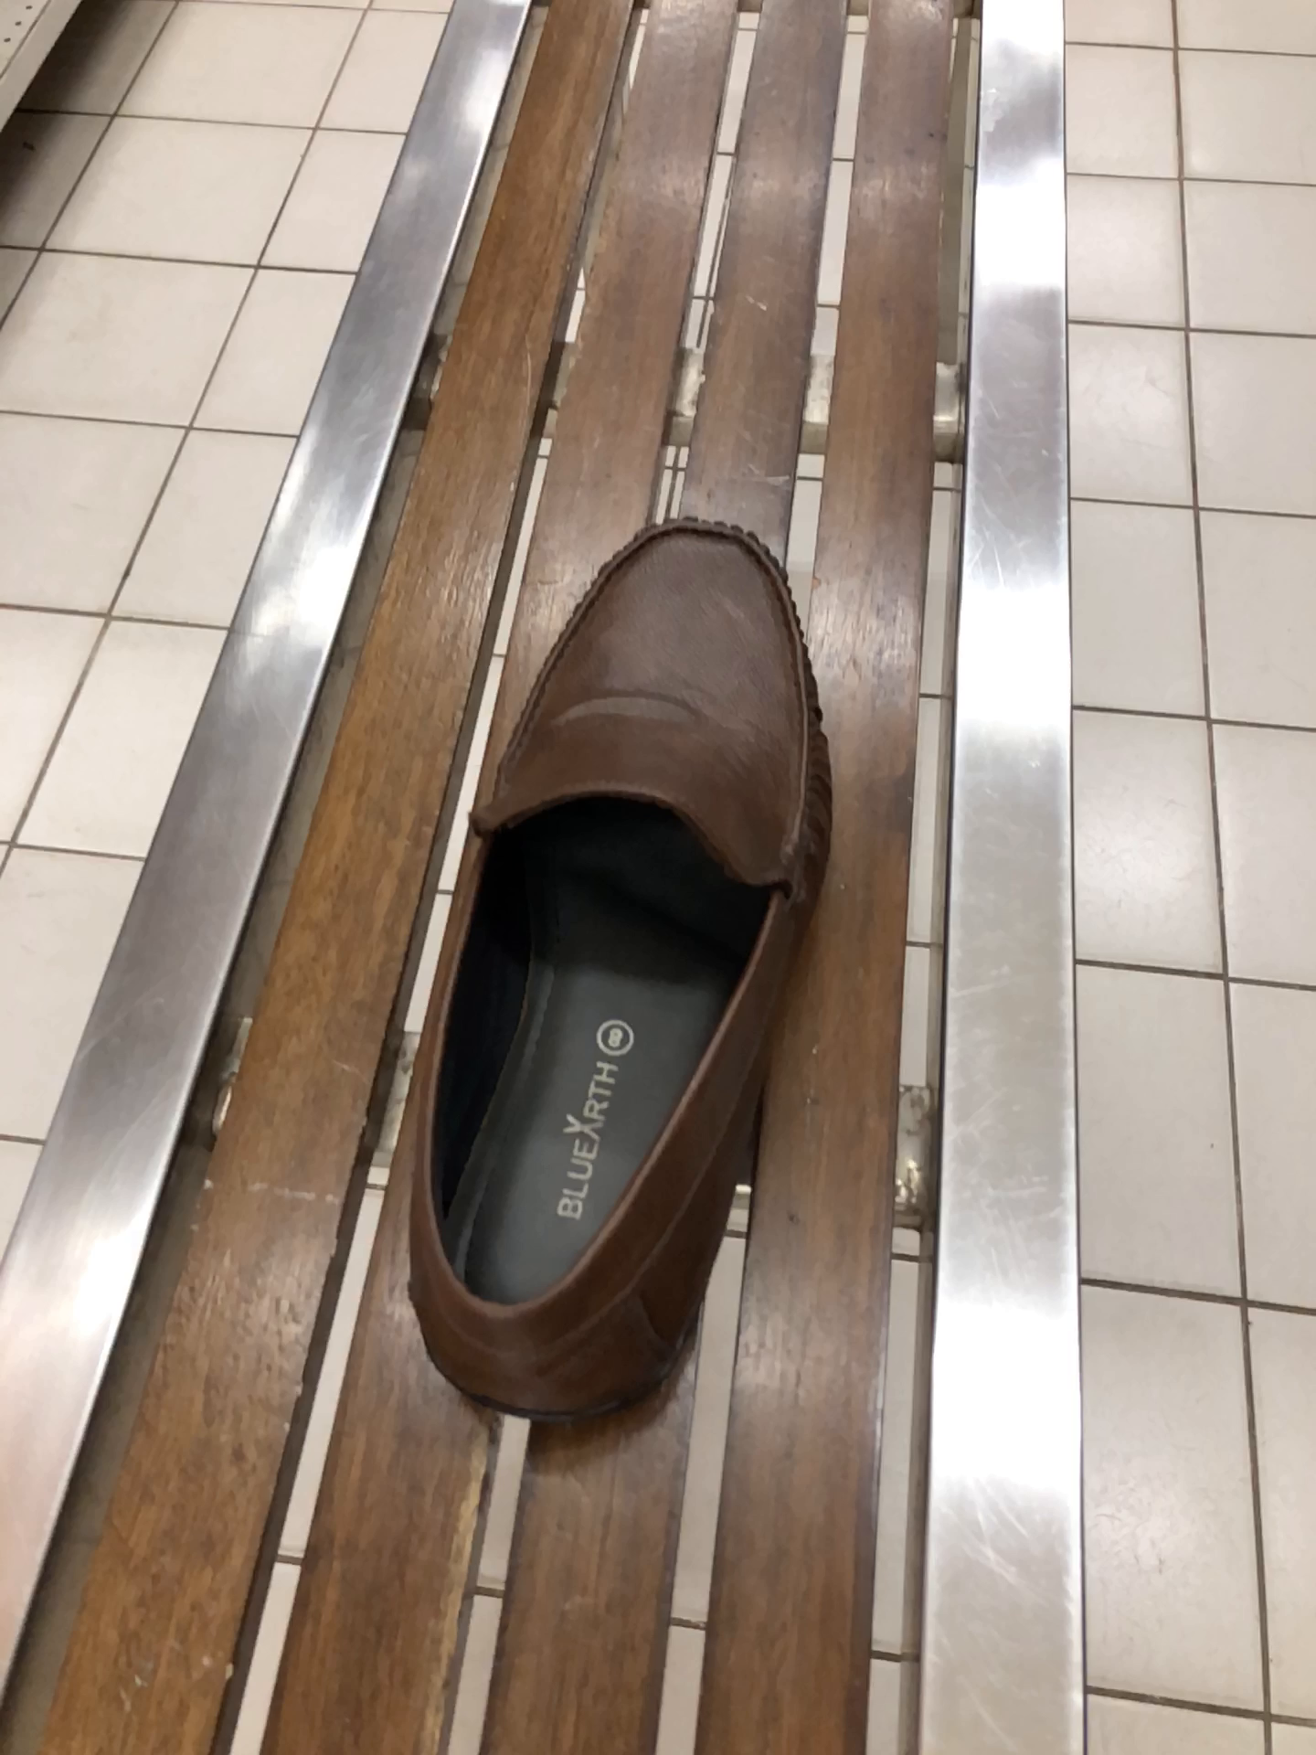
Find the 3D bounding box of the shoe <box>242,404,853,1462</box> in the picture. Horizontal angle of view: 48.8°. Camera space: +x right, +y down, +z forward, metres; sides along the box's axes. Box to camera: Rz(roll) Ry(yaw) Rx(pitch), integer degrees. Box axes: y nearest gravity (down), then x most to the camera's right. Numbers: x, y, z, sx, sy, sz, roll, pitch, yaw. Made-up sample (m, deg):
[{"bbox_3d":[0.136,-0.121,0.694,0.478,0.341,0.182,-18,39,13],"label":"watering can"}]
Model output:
[{"bbox_3d":[-0.014,0.003,0.413,0.090,0.090,0.281,10,61,8],"label":"shoe"}]
